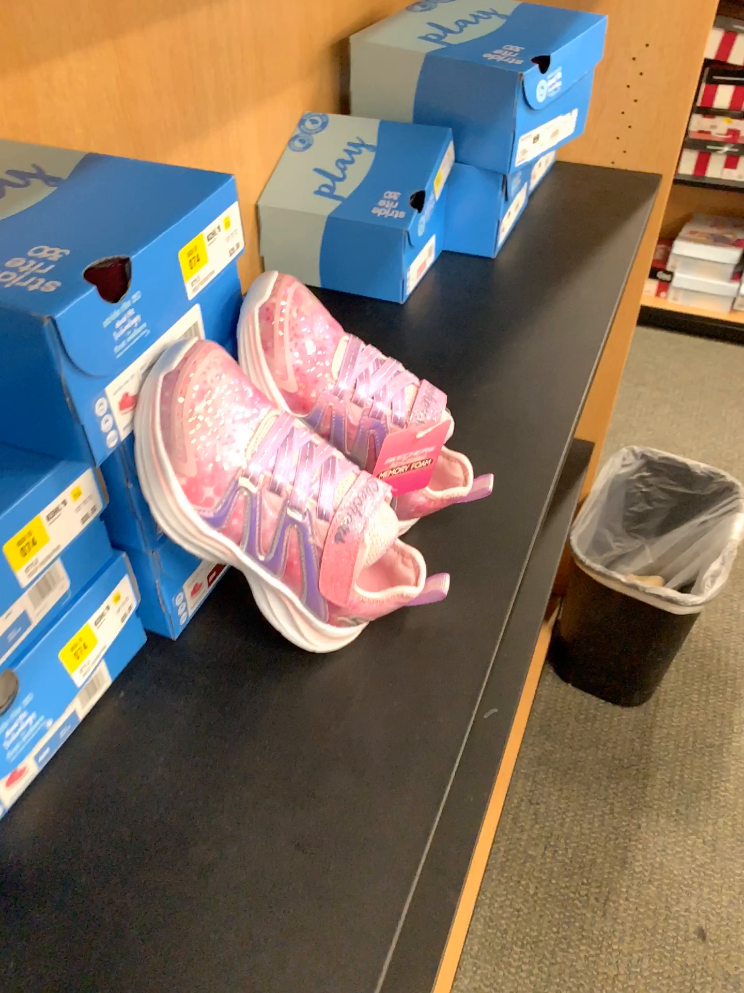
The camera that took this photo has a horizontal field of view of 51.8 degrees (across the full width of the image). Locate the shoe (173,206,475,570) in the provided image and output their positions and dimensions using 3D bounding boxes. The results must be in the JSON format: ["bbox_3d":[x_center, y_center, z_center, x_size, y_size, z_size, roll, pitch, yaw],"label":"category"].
[{"bbox_3d":[-0.015,-0.052,0.461,0.080,0.199,0.090,-4,47,28],"label":"shoe"}]

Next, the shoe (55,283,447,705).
[{"bbox_3d":[-0.045,0.010,0.398,0.080,0.209,0.090,-1,47,31],"label":"shoe"}]
